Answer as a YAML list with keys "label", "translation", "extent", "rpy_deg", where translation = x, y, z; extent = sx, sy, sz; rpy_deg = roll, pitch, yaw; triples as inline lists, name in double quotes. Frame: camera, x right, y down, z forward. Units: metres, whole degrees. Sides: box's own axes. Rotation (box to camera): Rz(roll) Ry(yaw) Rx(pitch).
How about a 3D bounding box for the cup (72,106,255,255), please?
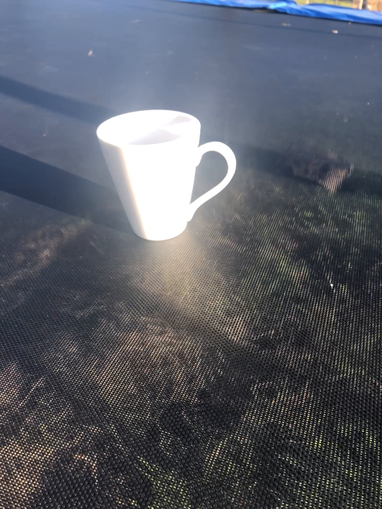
- label: "cup"
  translation: [-0.016, -0.074, 0.389]
  extent: [0.129, 0.094, 0.098]
  rpy_deg: [8, 35, 18]
